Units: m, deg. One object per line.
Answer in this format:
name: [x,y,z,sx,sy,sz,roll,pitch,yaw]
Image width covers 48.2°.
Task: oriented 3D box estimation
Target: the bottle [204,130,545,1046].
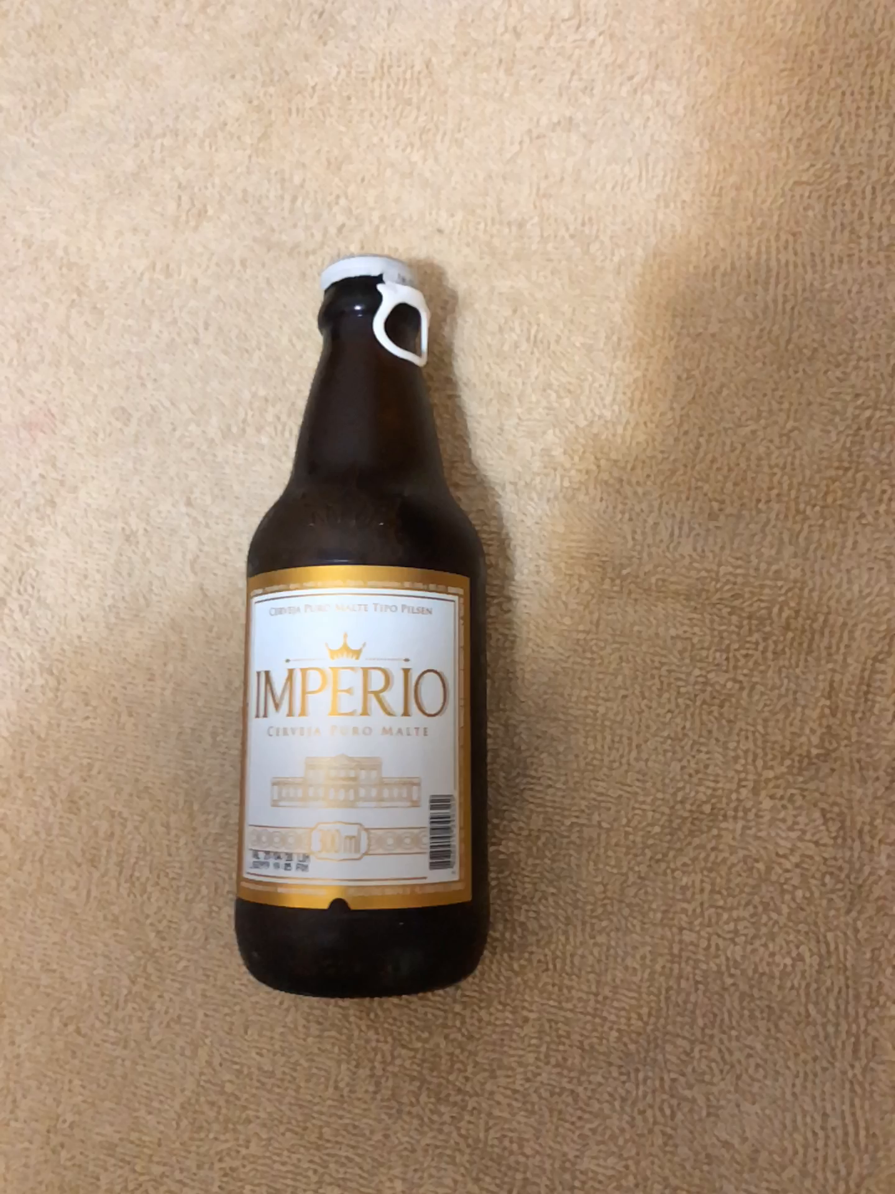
bottle: [-0.013,-0.003,0.240,0.060,0.060,0.190,-3,79,14]
